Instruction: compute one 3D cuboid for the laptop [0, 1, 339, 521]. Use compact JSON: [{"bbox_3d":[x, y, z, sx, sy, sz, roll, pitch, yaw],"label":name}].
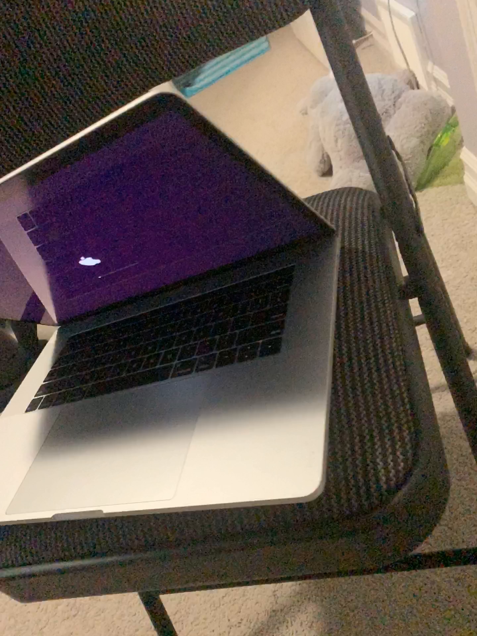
[{"bbox_3d":[-0.125,-0.015,0.354,0.334,0.188,0.231,-16,38,28],"label":"laptop"}]
